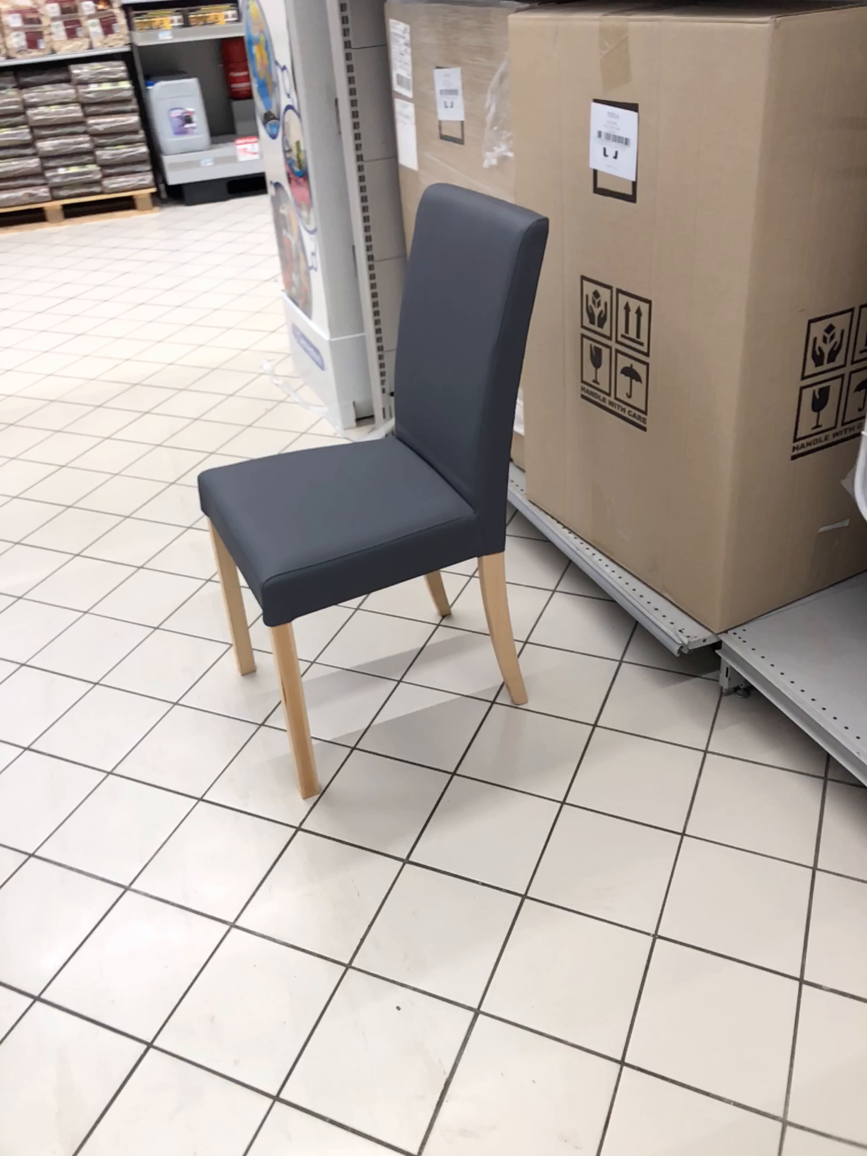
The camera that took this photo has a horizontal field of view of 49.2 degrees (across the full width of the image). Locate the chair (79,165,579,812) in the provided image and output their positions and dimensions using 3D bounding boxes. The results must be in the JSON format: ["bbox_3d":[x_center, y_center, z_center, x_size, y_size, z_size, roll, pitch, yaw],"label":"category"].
[{"bbox_3d":[-0.134,-0.173,1.574,0.572,0.825,0.471,-21,35,-23],"label":"chair"}]
